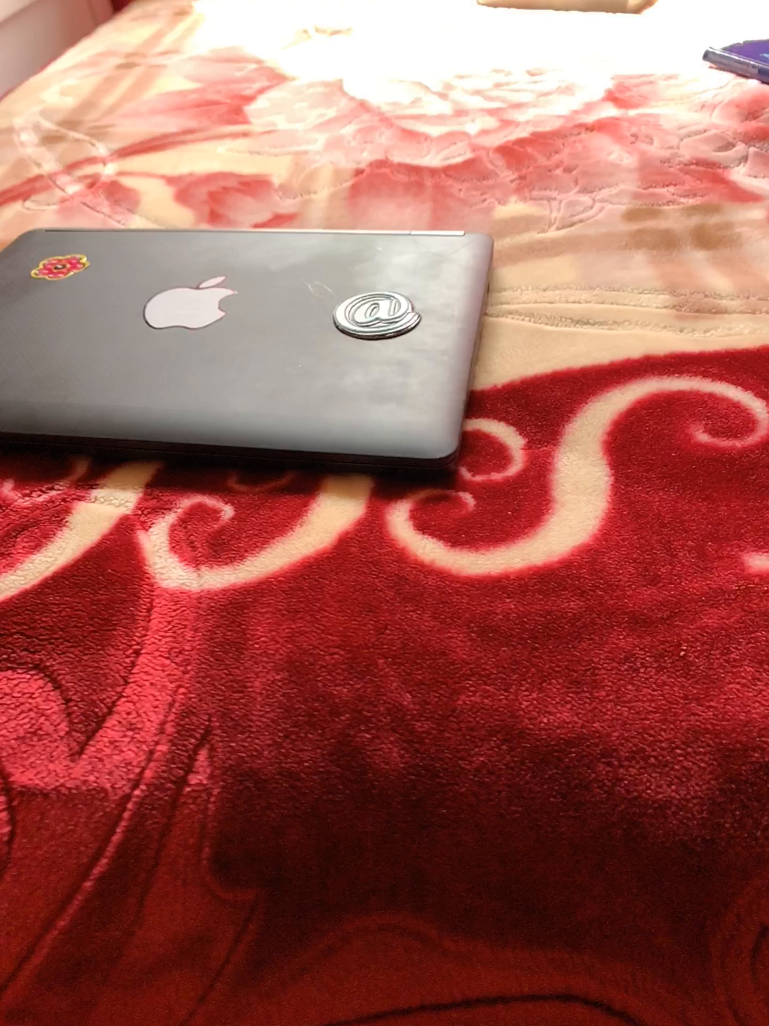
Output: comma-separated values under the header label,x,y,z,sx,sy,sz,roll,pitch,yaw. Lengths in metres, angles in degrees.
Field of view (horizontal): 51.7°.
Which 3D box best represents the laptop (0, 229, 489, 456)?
label,x,y,z,sx,sy,sz,roll,pitch,yaw
laptop,-0.102,-0.105,0.417,0.299,0.001,0.210,4,43,11
